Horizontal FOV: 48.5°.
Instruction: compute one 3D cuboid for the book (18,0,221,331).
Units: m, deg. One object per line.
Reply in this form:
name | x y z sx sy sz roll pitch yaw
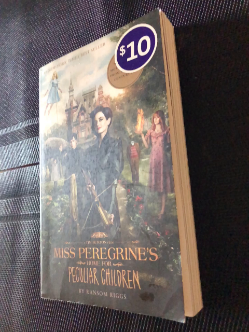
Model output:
book | -0.019 0.000 0.241 0.161 0.050 0.230 -10 78 31
